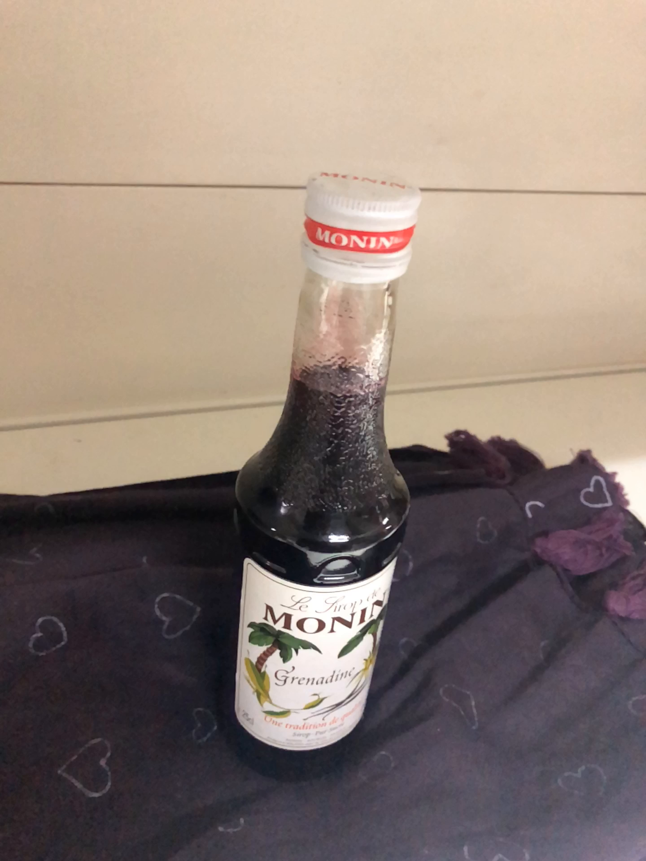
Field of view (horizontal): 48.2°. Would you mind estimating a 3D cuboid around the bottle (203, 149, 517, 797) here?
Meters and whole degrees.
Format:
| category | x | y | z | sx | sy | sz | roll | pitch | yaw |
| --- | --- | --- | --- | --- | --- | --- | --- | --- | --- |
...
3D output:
| category | x | y | z | sx | sy | sz | roll | pitch | yaw |
| --- | --- | --- | --- | --- | --- | --- | --- | --- | --- |
| bottle | -0.002 | 0.022 | 0.232 | 0.060 | 0.199 | 0.060 | 5 | 30 | -3 |
